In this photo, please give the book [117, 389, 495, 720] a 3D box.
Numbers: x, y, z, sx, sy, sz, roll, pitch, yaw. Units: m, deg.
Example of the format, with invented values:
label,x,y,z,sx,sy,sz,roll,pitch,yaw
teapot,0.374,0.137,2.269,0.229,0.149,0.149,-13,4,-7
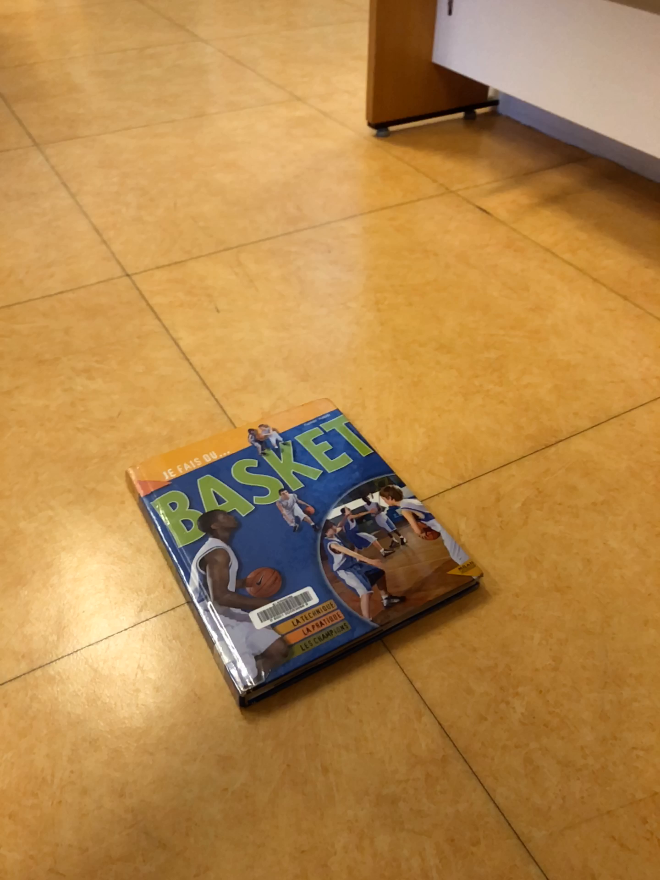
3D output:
label,x,y,z,sx,sy,sz,roll,pitch,yaw
book,-0.031,0.068,0.594,0.211,0.020,0.257,-21,46,-22
